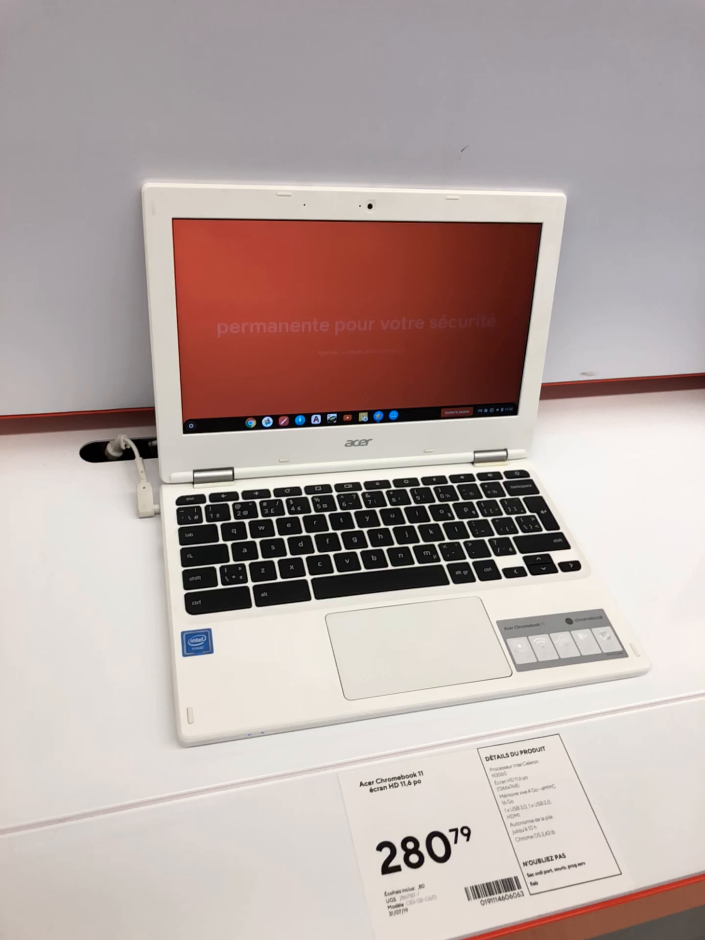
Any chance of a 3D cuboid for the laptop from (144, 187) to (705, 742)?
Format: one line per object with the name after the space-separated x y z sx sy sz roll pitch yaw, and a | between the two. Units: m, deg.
0.029 -0.023 0.475 0.282 0.188 0.260 -4 44 -15 | laptop
